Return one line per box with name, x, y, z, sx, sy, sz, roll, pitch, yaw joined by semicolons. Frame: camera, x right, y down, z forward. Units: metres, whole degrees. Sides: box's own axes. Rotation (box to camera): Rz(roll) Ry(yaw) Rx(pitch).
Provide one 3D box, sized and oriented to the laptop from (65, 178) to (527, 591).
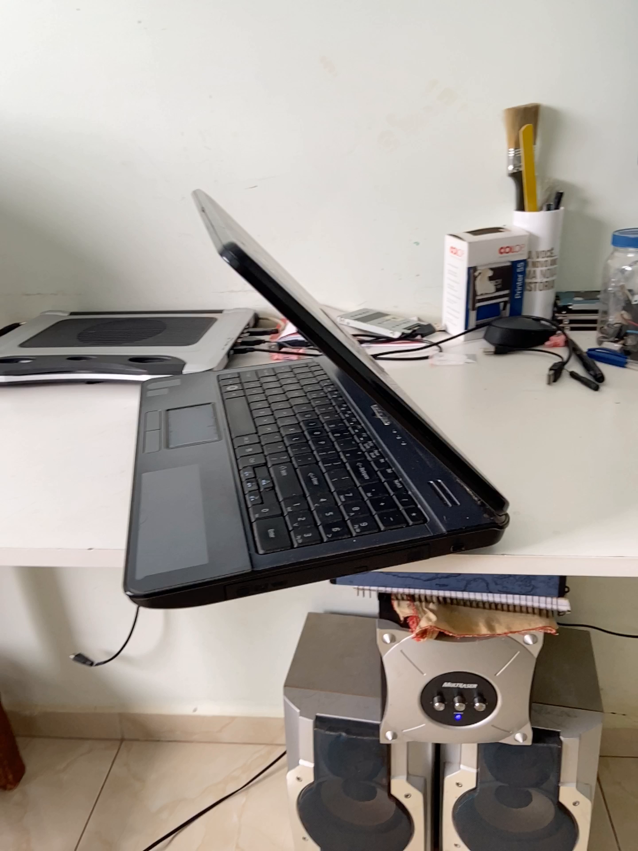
laptop;-0.039;-0.079;0.524;0.232;0.183;0.368;-9;25;-10
